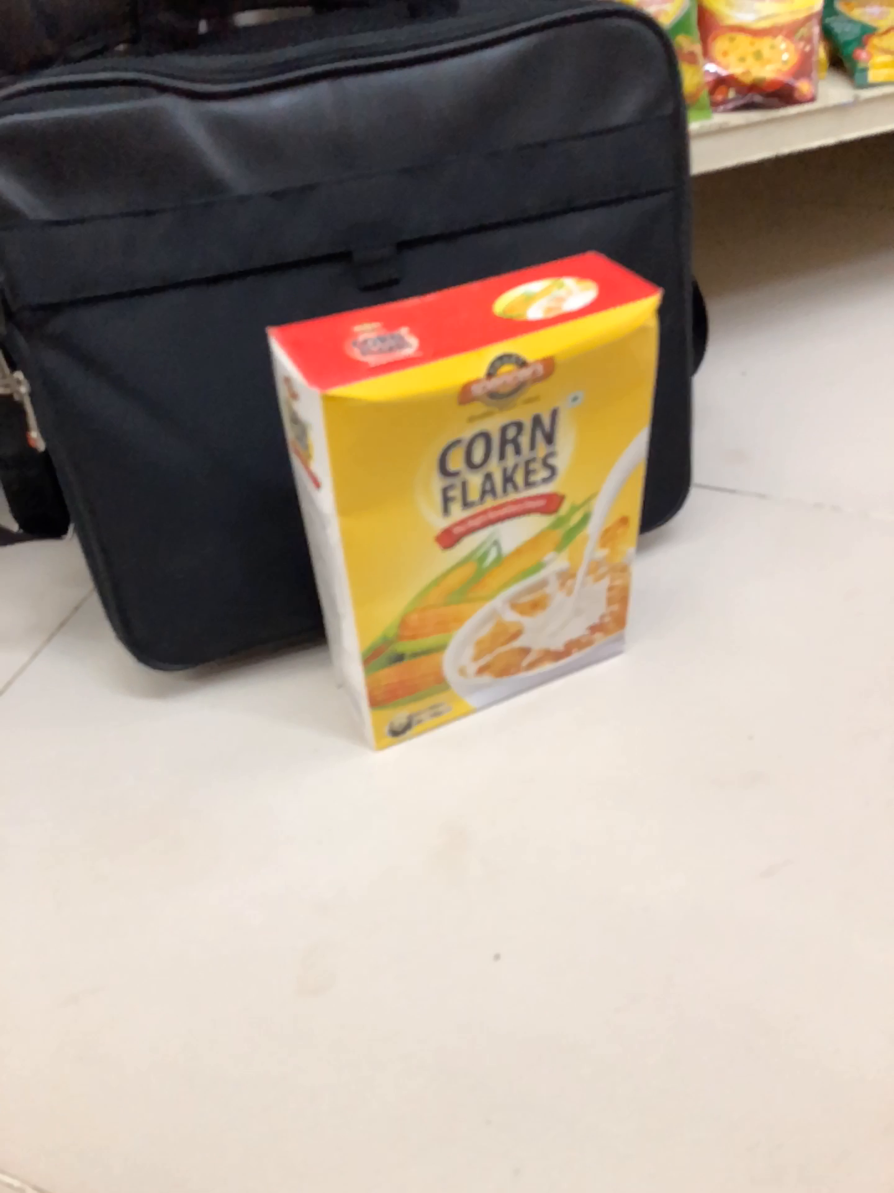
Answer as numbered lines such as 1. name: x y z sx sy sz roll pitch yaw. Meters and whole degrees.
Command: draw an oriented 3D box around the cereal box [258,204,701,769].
1. cereal box: 0.024 -0.048 0.534 0.190 0.268 0.070 -20 45 -16
